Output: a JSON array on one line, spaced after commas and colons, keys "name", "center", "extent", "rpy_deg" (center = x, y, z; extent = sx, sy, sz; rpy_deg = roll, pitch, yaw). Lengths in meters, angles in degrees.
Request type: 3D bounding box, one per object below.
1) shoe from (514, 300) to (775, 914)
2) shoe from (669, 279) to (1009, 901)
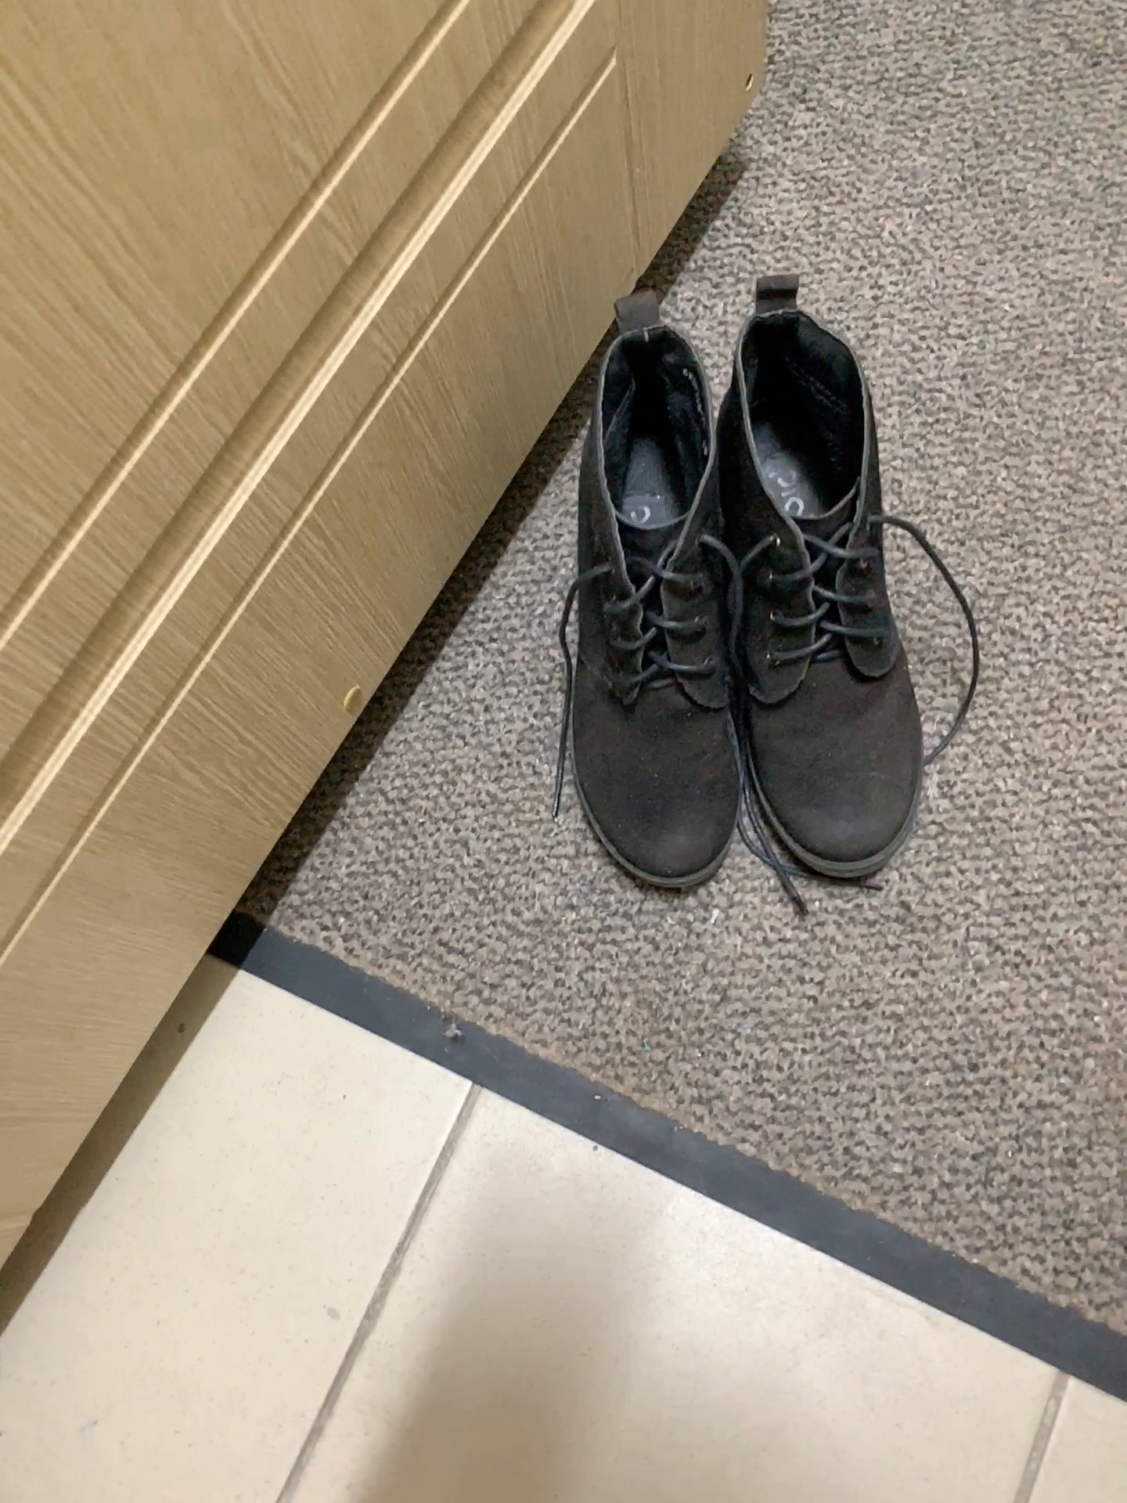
[{"name": "shoe", "center": [0.038, -0.054, 0.533], "extent": [0.080, 0.160, 0.230], "rpy_deg": [-7, 73, 5]}, {"name": "shoe", "center": [0.114, -0.063, 0.534], "extent": [0.080, 0.160, 0.230], "rpy_deg": [-12, 73, 4]}]
